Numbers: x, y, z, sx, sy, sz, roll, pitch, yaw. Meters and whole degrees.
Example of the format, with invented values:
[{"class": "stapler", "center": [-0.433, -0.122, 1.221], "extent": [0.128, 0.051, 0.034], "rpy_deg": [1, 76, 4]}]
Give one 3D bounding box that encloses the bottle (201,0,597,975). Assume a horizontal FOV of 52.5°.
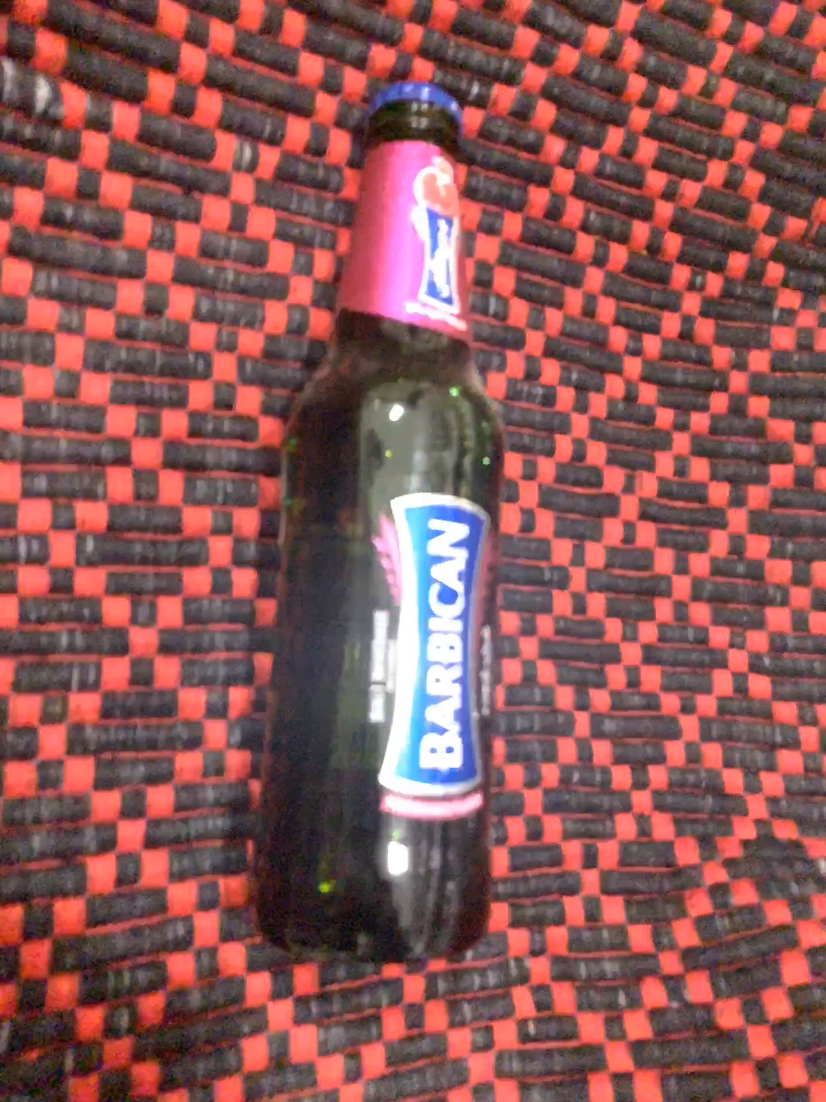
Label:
[{"class": "bottle", "center": [-0.009, -0.026, 0.234], "extent": [0.070, 0.080, 0.240], "rpy_deg": [6, 74, -25]}]
